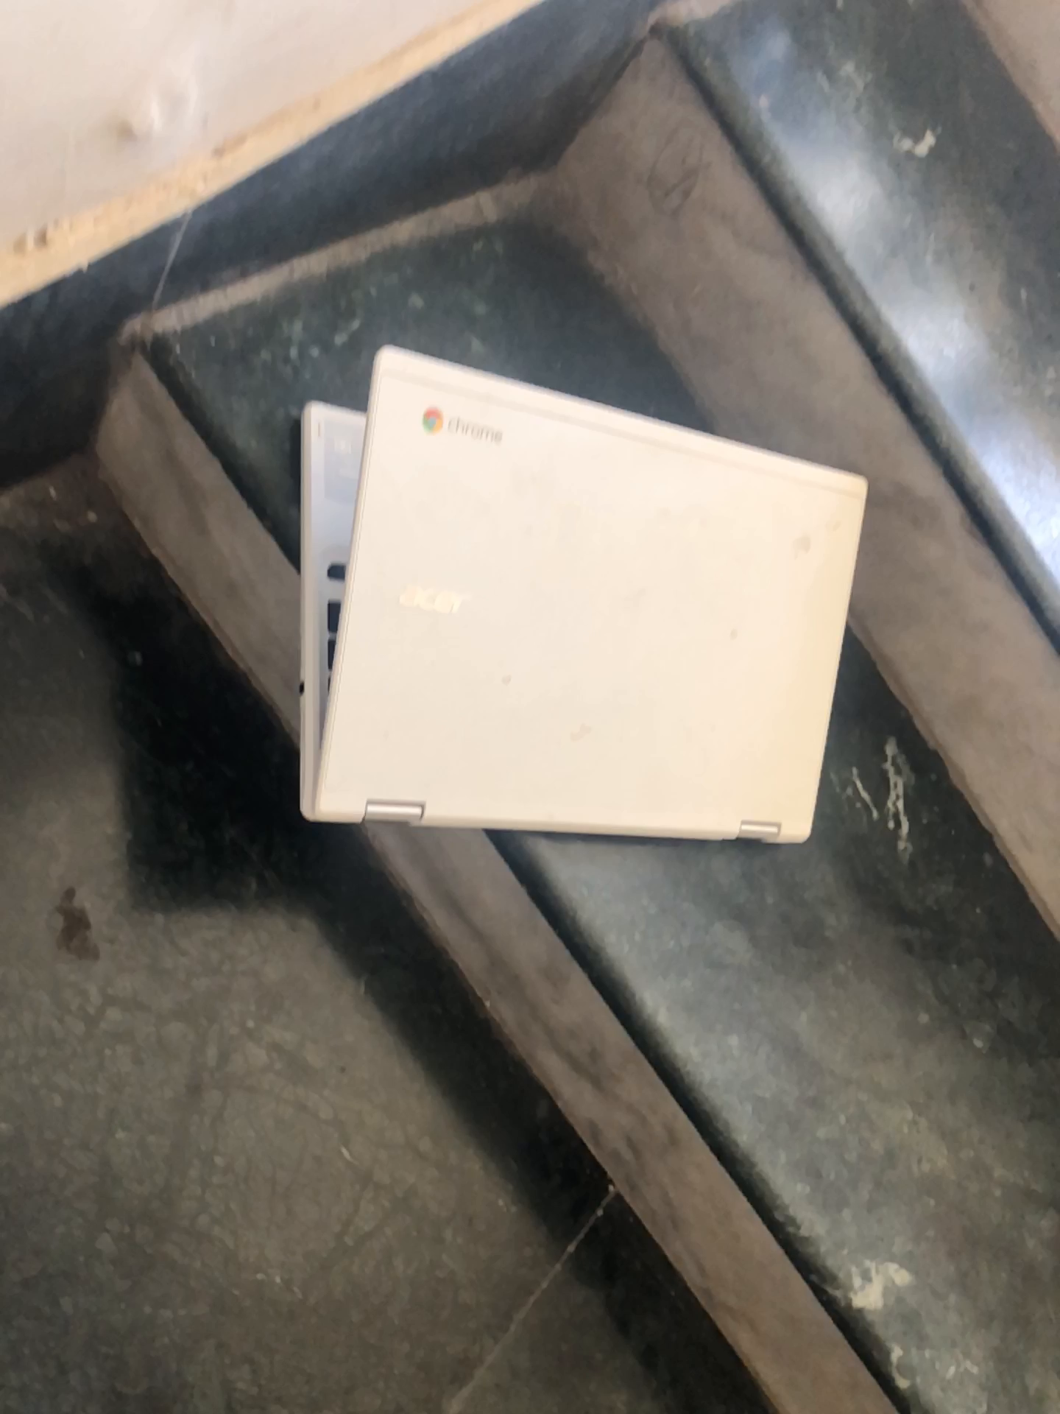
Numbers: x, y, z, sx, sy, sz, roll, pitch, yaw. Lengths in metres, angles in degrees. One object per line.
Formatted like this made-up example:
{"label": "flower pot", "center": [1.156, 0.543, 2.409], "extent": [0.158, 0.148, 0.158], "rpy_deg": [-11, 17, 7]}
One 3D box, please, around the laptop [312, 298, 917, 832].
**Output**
{"label": "laptop", "center": [0.046, -0.048, 0.566], "extent": [0.283, 0.091, 0.190], "rpy_deg": [6, 74, -33]}
